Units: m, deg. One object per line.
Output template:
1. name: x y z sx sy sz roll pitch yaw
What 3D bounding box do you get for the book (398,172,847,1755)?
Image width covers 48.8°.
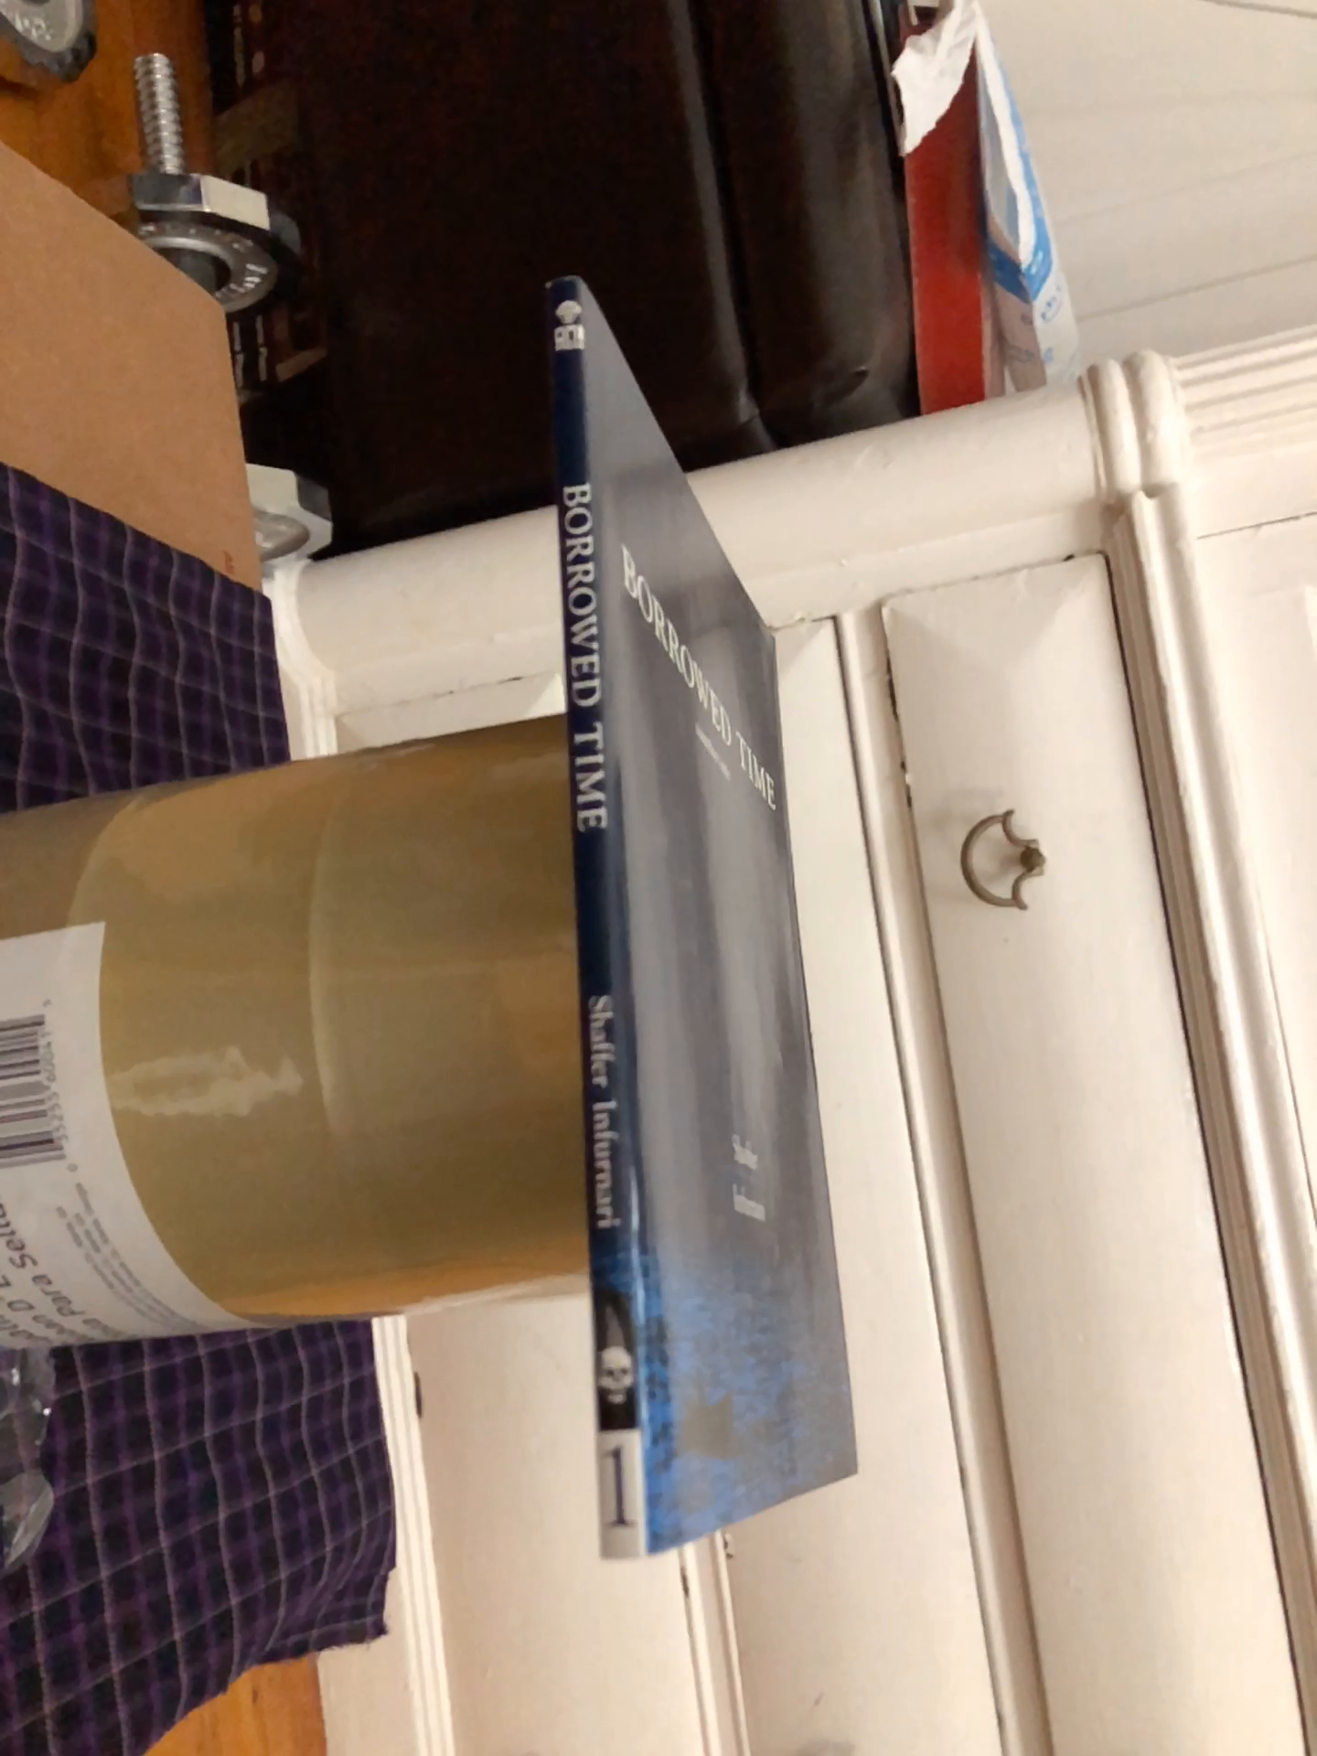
1. book: -0.002 0.022 0.261 0.160 0.010 0.230 47 34 -64
